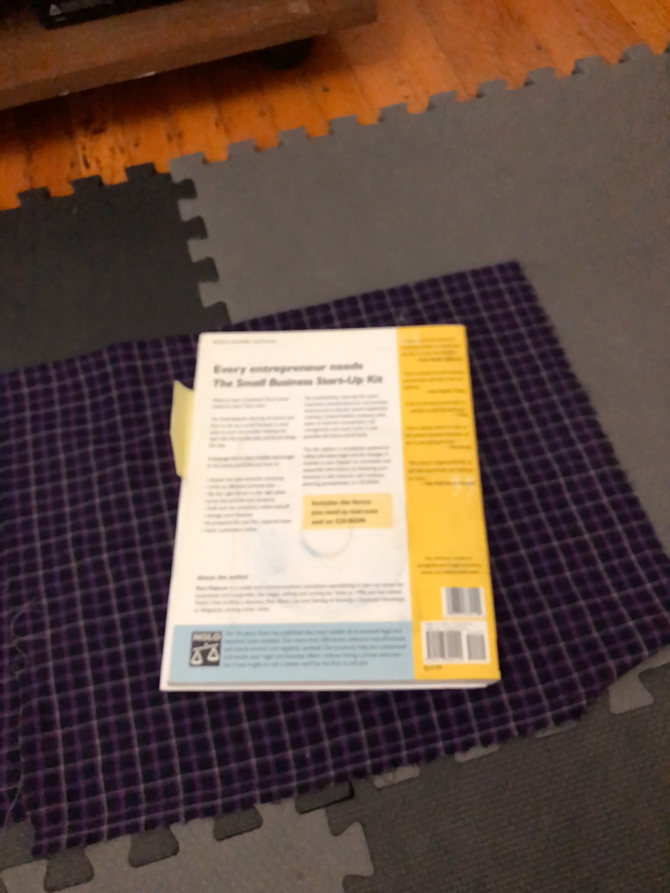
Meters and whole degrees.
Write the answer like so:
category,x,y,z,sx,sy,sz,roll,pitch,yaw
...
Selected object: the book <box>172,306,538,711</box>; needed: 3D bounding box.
category,x,y,z,sx,sy,sz,roll,pitch,yaw
book,0.013,0.031,0.556,0.230,0.030,0.311,-1,62,2
